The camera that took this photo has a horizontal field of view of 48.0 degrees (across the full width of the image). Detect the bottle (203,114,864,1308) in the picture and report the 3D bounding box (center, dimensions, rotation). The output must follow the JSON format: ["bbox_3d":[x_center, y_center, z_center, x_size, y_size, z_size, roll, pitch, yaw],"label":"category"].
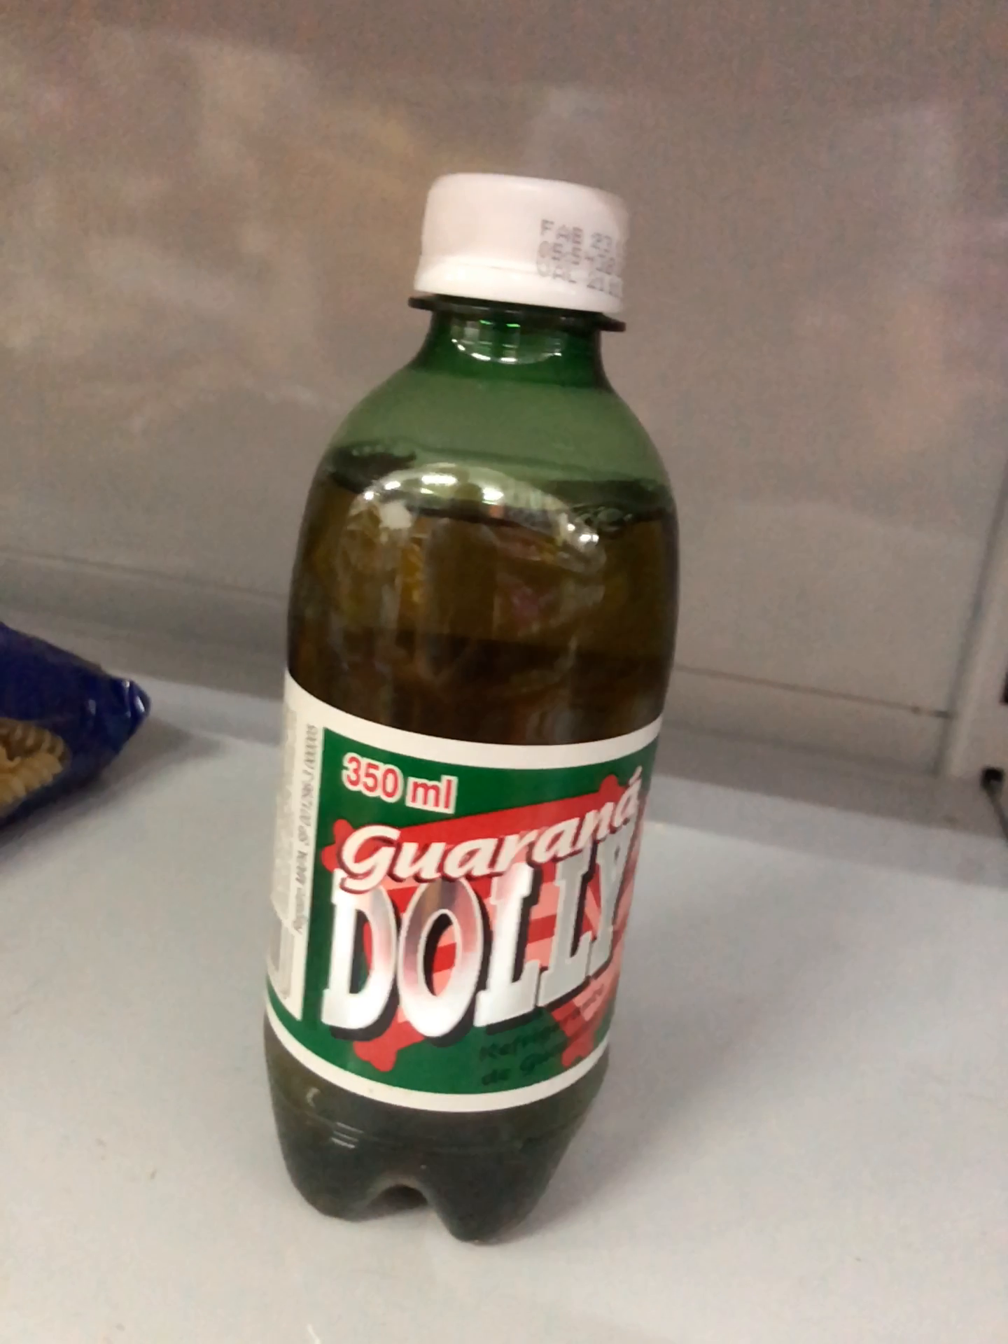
[{"bbox_3d":[-0.009,0.008,0.202,0.080,0.179,0.070,0,20,-18],"label":"bottle"}]
